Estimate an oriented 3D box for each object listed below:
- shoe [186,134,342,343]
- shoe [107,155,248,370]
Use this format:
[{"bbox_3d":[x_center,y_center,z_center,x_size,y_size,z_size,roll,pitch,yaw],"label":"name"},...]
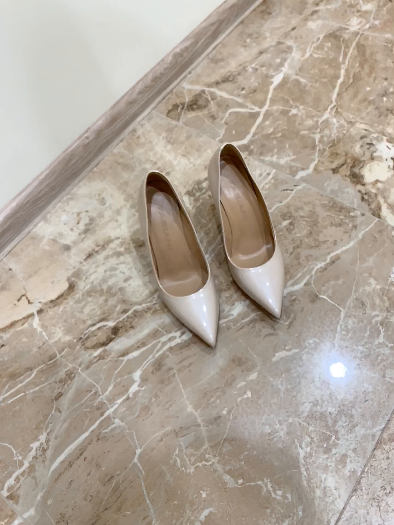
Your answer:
[{"bbox_3d":[0.075,-0.035,0.540,0.090,0.110,0.241,-21,62,-5],"label":"shoe"},{"bbox_3d":[-0.026,-0.002,0.534,0.090,0.120,0.241,-21,62,-5],"label":"shoe"}]
